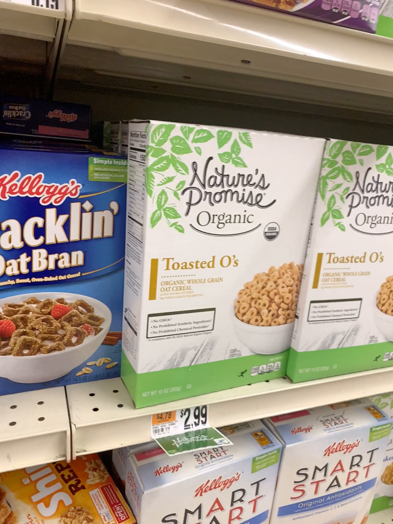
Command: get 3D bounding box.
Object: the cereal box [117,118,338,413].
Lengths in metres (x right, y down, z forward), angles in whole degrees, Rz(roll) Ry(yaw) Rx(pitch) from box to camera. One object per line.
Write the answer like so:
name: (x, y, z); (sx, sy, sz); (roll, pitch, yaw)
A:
cereal box: (0.024, 0.001, 0.421); (0.190, 0.269, 0.070); (-3, 19, -25)
